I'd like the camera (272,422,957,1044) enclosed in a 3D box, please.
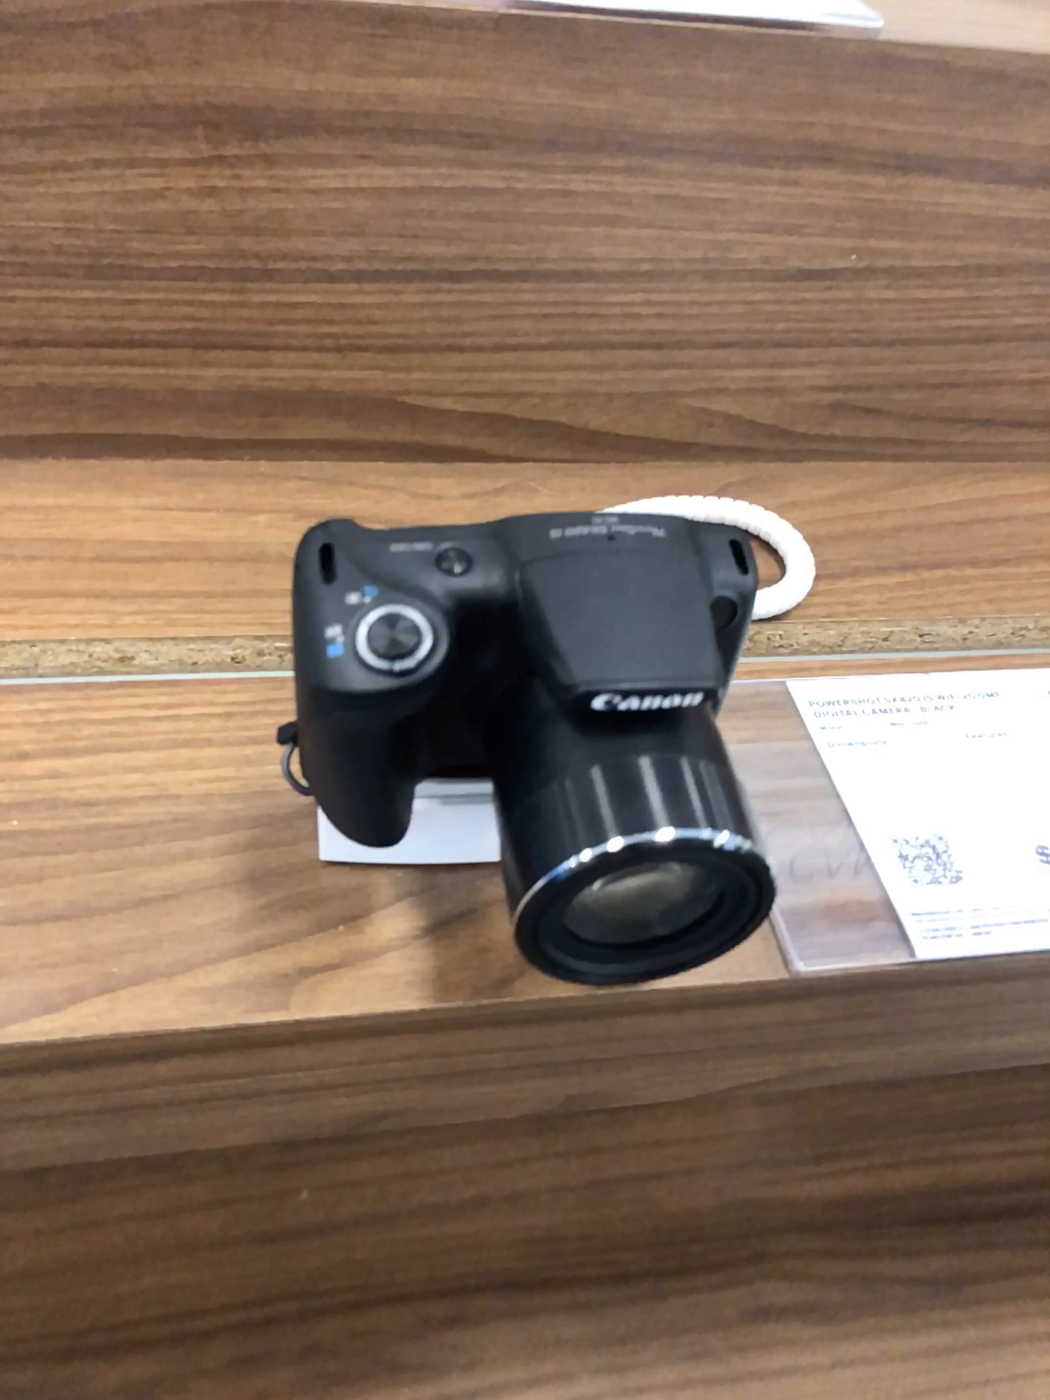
[{"bbox_3d":[0.006,0.000,0.250,0.110,0.070,0.110,-3,43,-13],"label":"camera"}]
